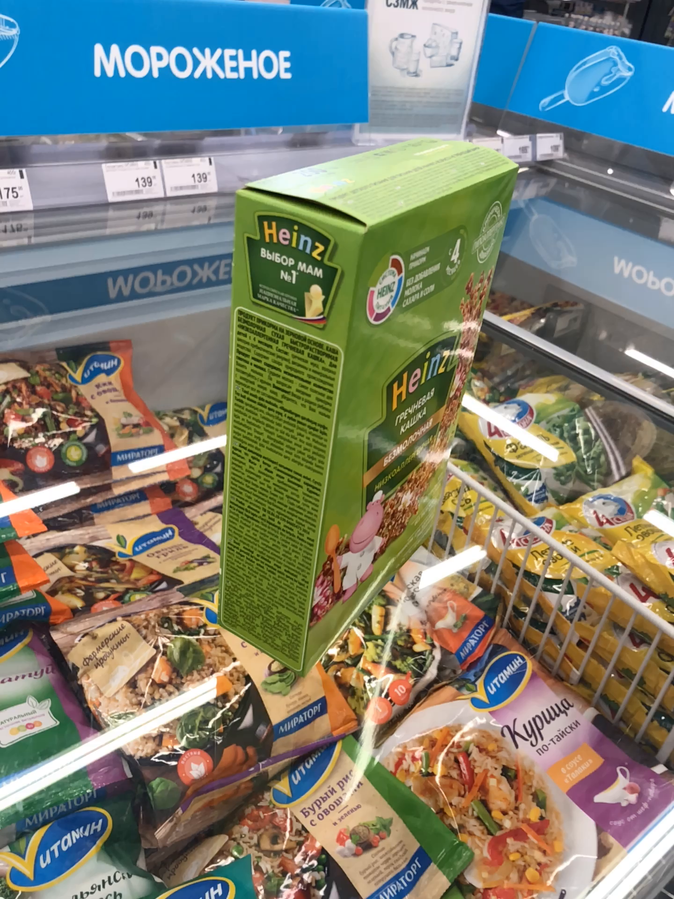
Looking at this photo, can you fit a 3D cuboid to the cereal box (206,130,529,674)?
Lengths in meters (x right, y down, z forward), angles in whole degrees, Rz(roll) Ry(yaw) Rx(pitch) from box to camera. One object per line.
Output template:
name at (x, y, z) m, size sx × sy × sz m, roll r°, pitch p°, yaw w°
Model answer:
cereal box at (0.011, -0.024, 0.318) m, size 0.050 × 0.189 × 0.141 m, roll 24°, pitch 37°, yaw 23°
